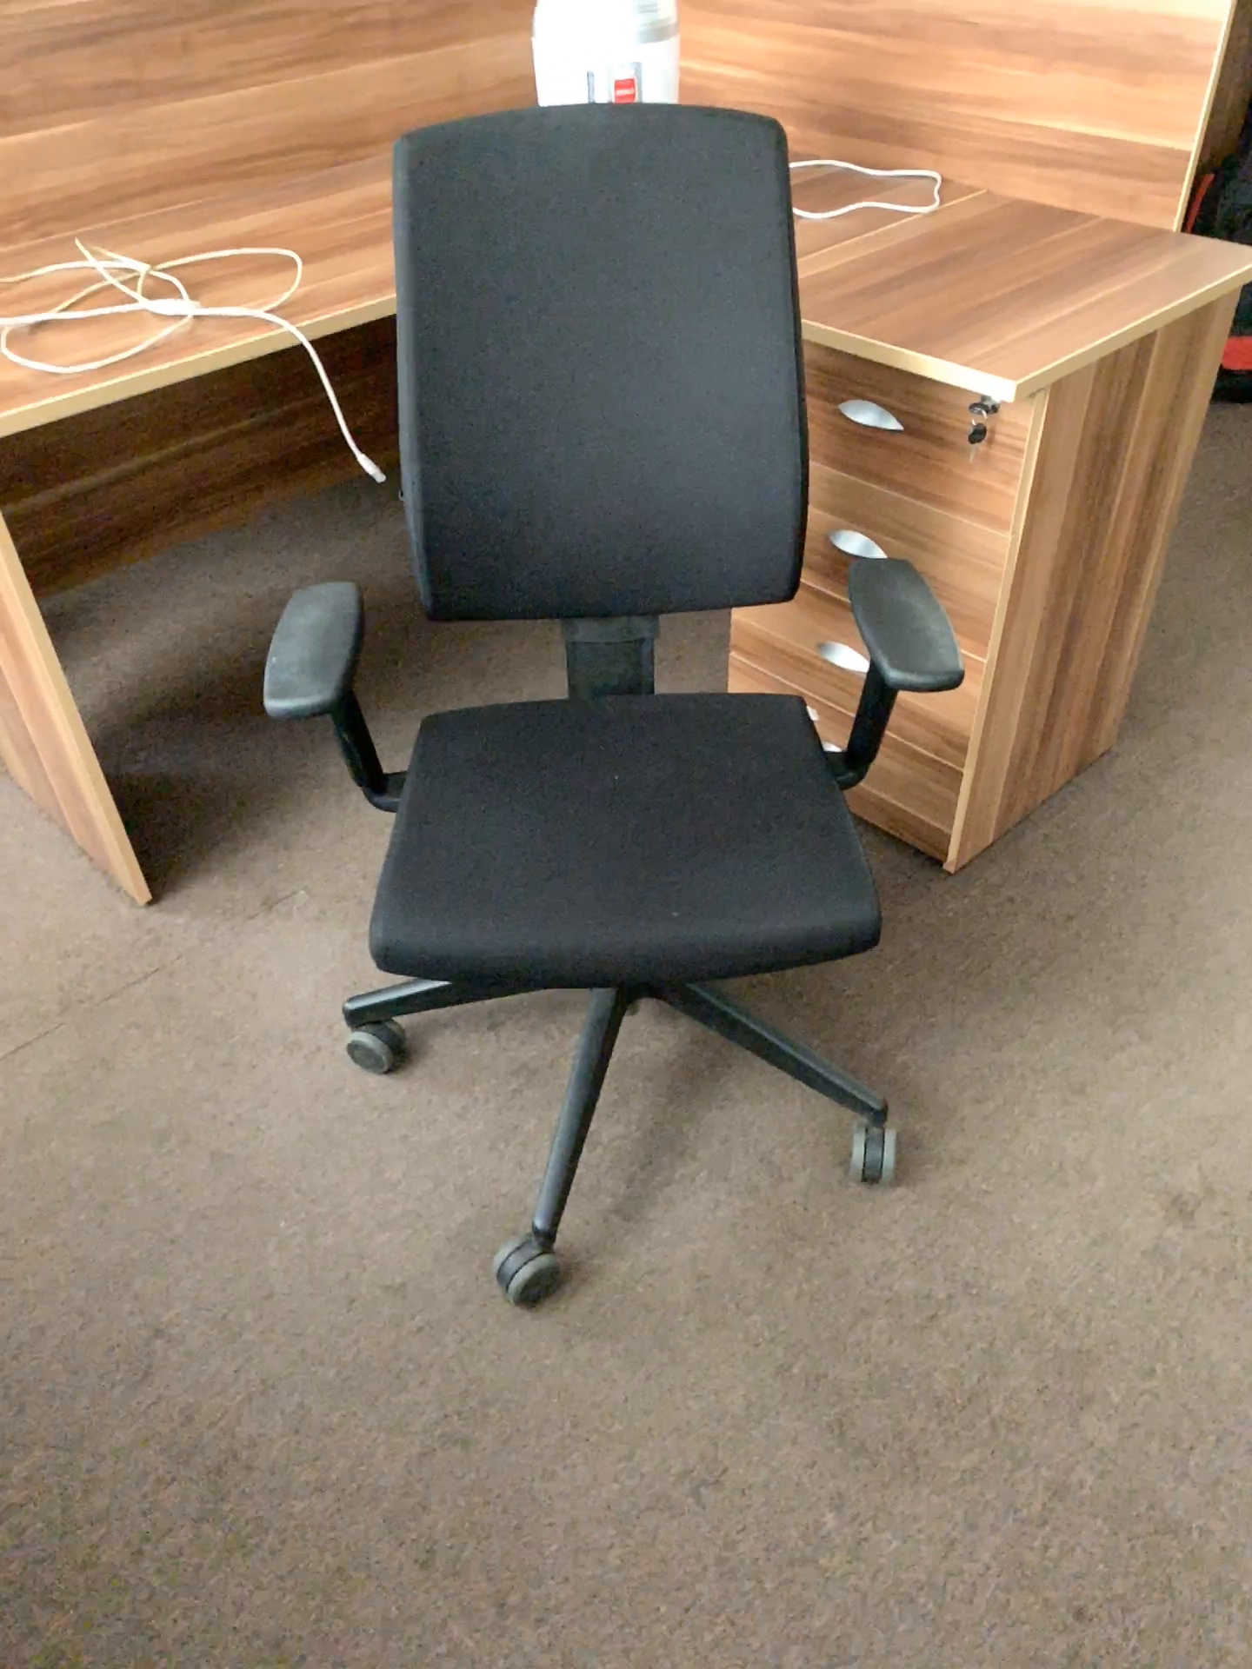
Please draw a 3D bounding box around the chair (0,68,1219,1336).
[{"bbox_3d":[-0.034,-0.136,1.249,0.670,0.915,0.794,-3,40,-1],"label":"chair"}]
